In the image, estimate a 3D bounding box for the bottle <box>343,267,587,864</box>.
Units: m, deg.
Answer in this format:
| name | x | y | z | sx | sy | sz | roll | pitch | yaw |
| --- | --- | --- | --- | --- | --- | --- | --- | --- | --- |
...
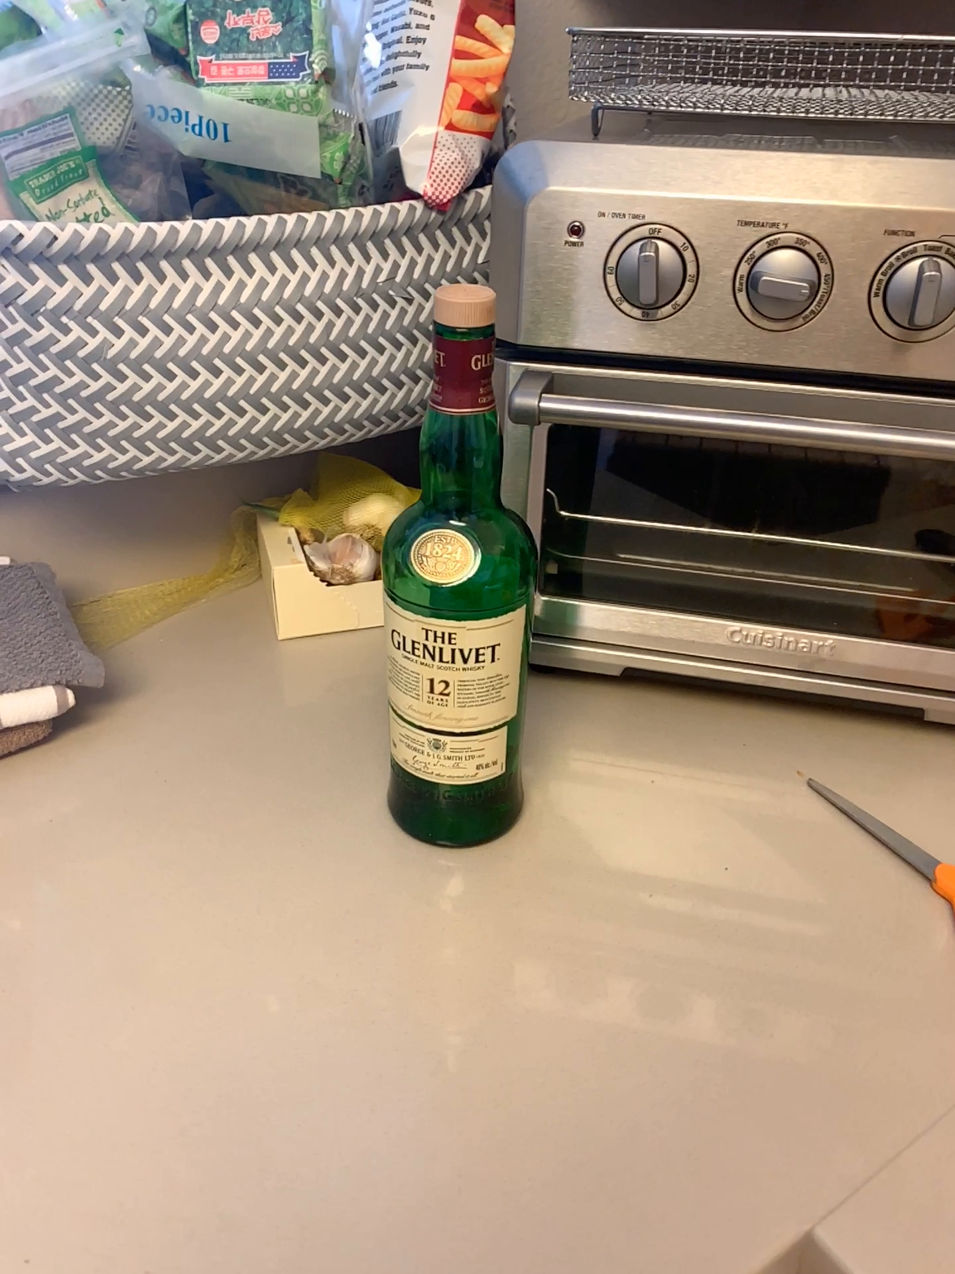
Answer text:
| name | x | y | z | sx | sy | sz | roll | pitch | yaw |
| --- | --- | --- | --- | --- | --- | --- | --- | --- | --- |
| bottle | -0.004 | -0.028 | 0.490 | 0.090 | 0.278 | 0.090 | 1 | 30 | 0 |
